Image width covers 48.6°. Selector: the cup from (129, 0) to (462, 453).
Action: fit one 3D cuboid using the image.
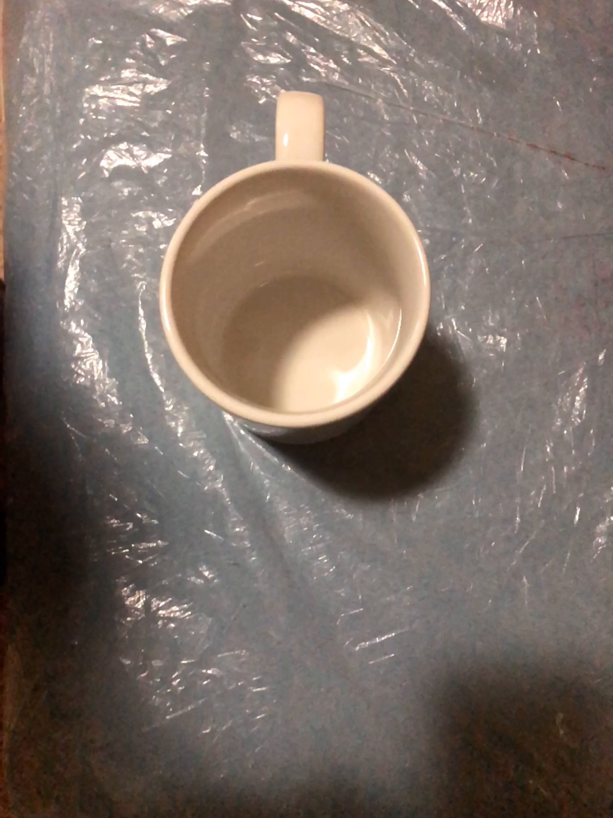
[{"bbox_3d":[-0.003,-0.057,0.269,0.100,0.110,0.140,2,84,-2],"label":"cup"}]
